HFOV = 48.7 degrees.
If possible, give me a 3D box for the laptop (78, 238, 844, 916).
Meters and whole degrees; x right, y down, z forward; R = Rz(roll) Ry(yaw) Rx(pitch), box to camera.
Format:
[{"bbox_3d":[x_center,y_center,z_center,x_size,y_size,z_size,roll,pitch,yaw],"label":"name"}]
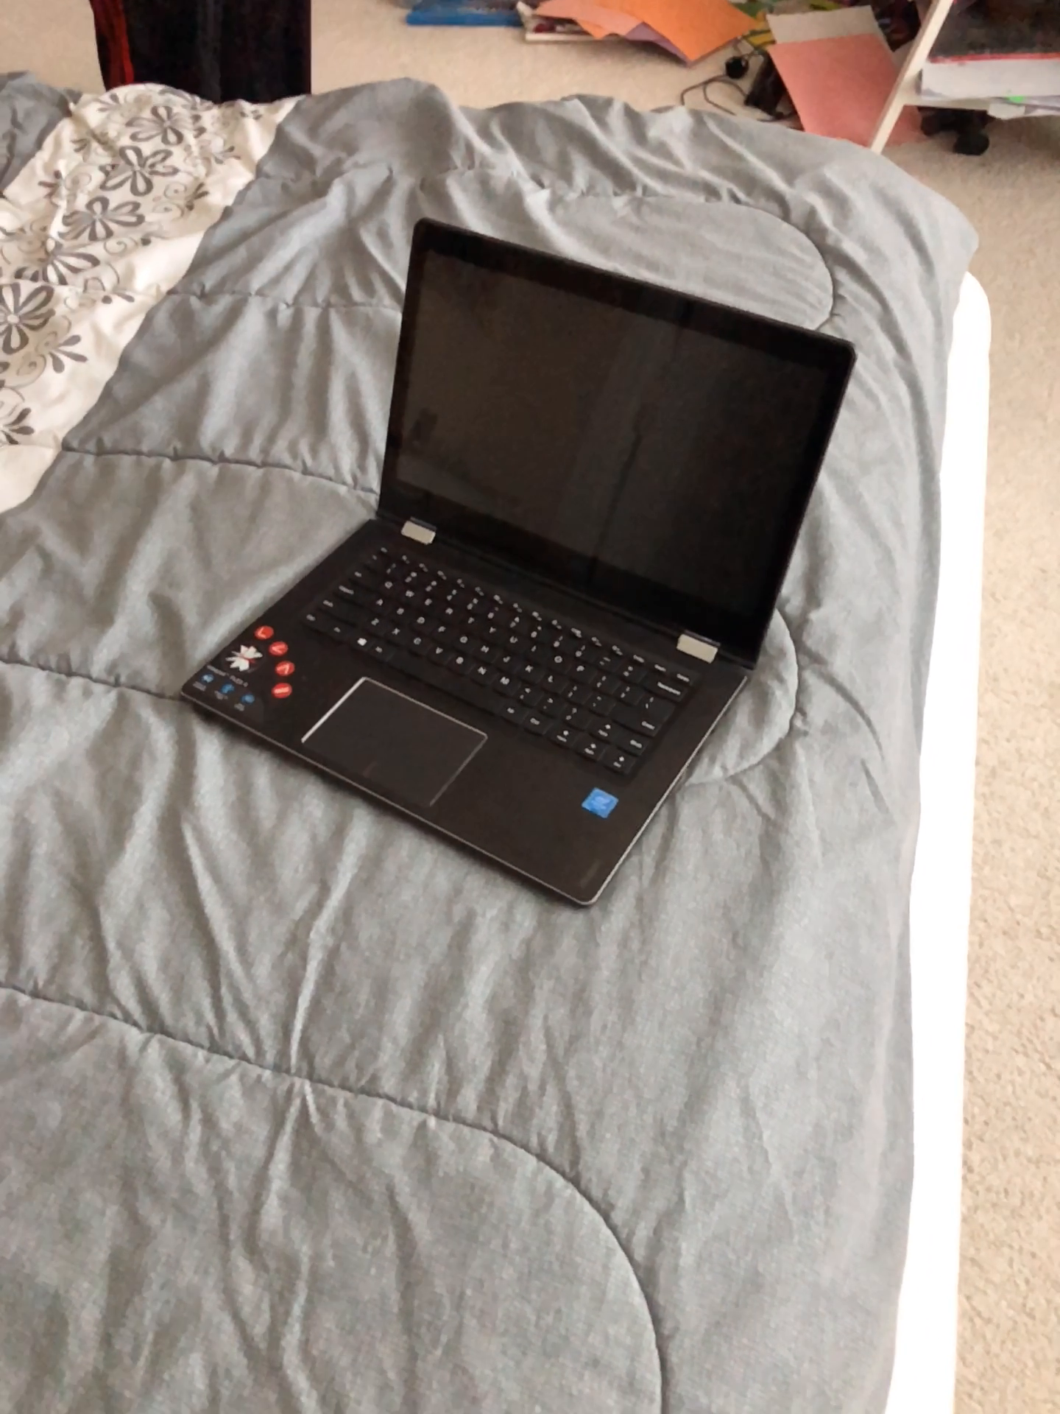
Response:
[{"bbox_3d":[-0.028,-0.115,0.842,0.361,0.214,0.352,25,55,21],"label":"laptop"}]
